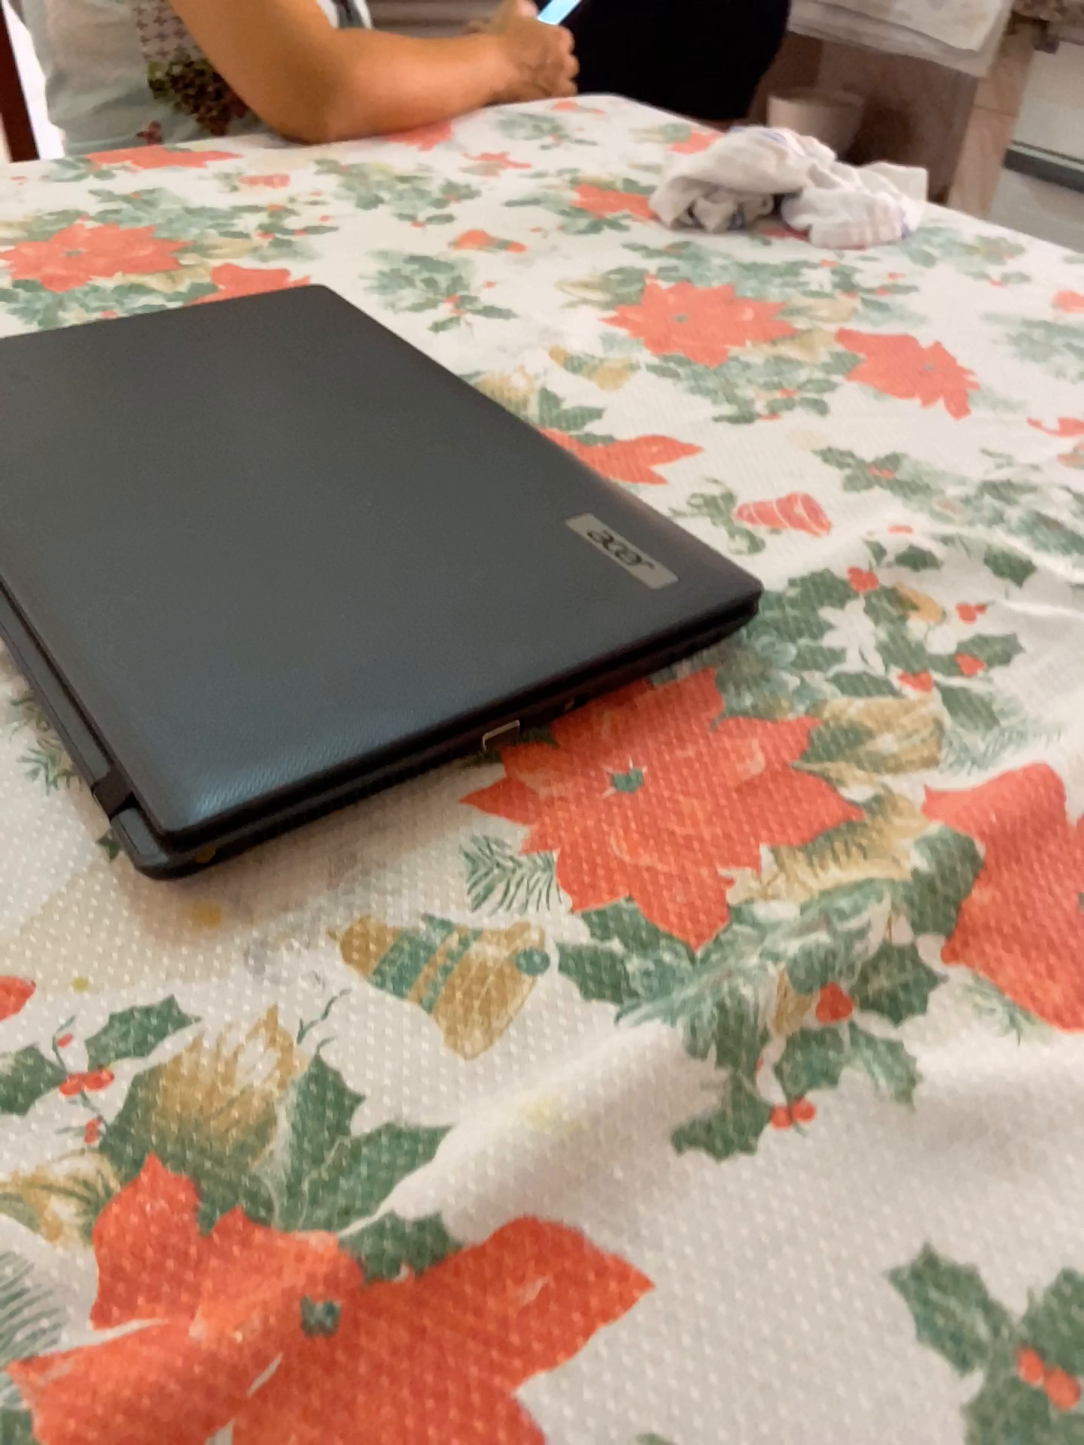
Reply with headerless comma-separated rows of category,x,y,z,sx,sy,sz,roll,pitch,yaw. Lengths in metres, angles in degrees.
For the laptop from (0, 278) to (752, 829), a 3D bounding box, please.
laptop,-0.114,-0.109,0.468,0.223,0.001,0.351,-24,48,-27
